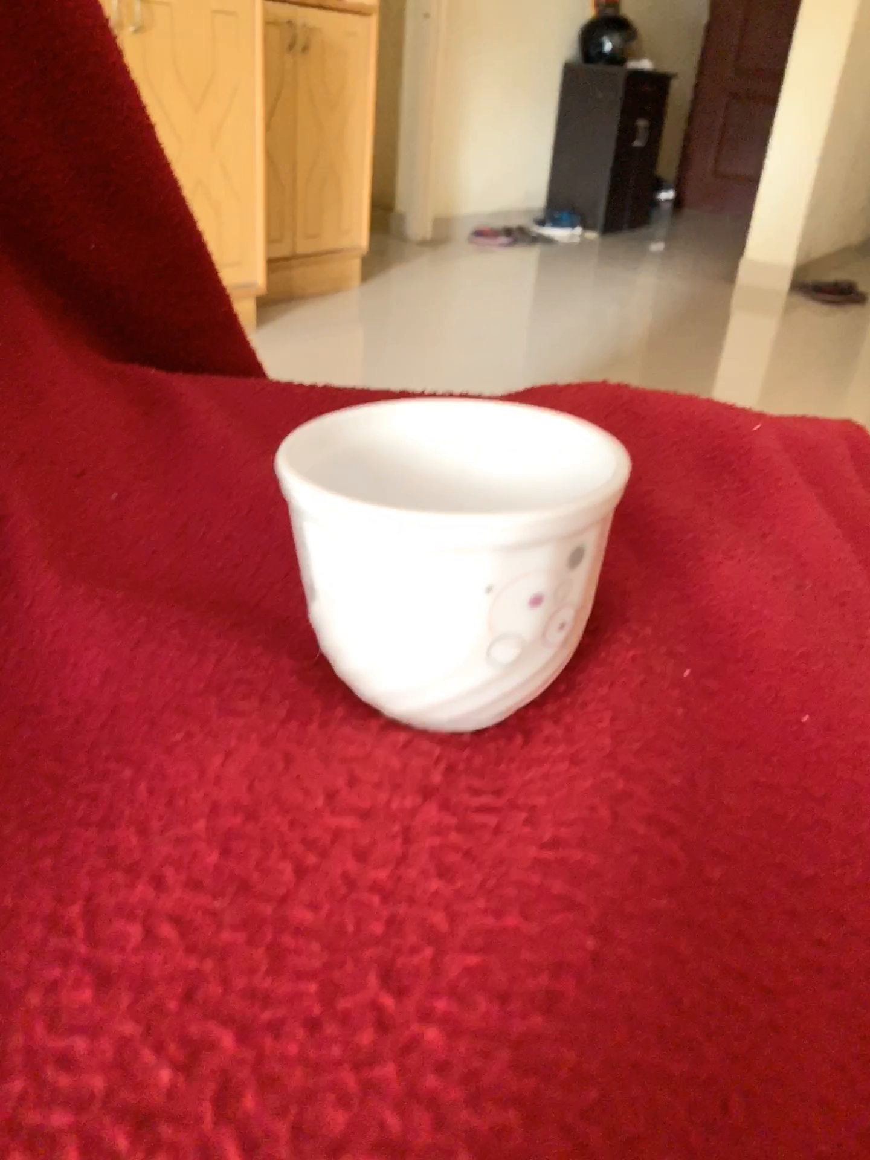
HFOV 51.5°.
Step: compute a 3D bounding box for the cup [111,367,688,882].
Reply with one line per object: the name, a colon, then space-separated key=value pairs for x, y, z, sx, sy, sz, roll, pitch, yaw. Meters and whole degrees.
cup: x=0.000 y=-0.003 z=0.193 sx=0.080 sy=0.050 sz=0.101 roll=16 pitch=30 yaw=19
